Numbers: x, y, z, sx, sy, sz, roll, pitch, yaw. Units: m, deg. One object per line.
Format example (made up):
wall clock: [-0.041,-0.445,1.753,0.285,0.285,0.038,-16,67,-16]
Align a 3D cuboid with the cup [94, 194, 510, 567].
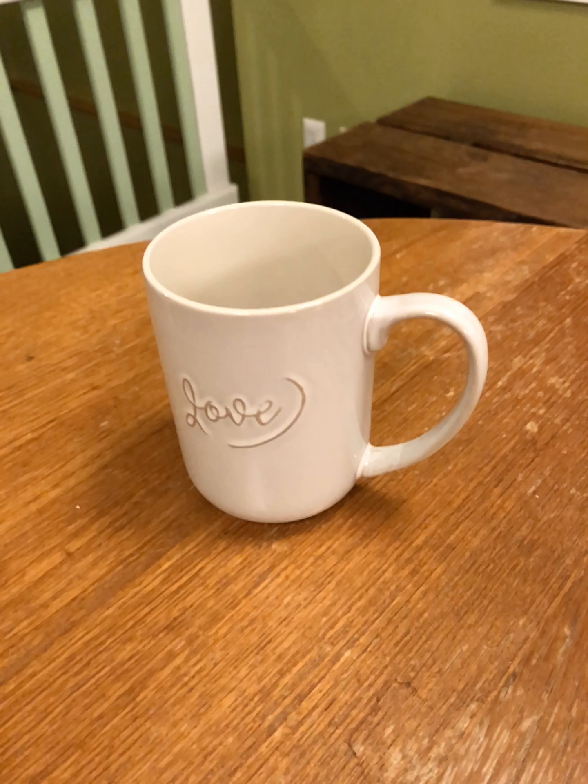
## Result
cup: [0.009,-0.007,0.283,0.134,0.123,0.092,3,40,8]
